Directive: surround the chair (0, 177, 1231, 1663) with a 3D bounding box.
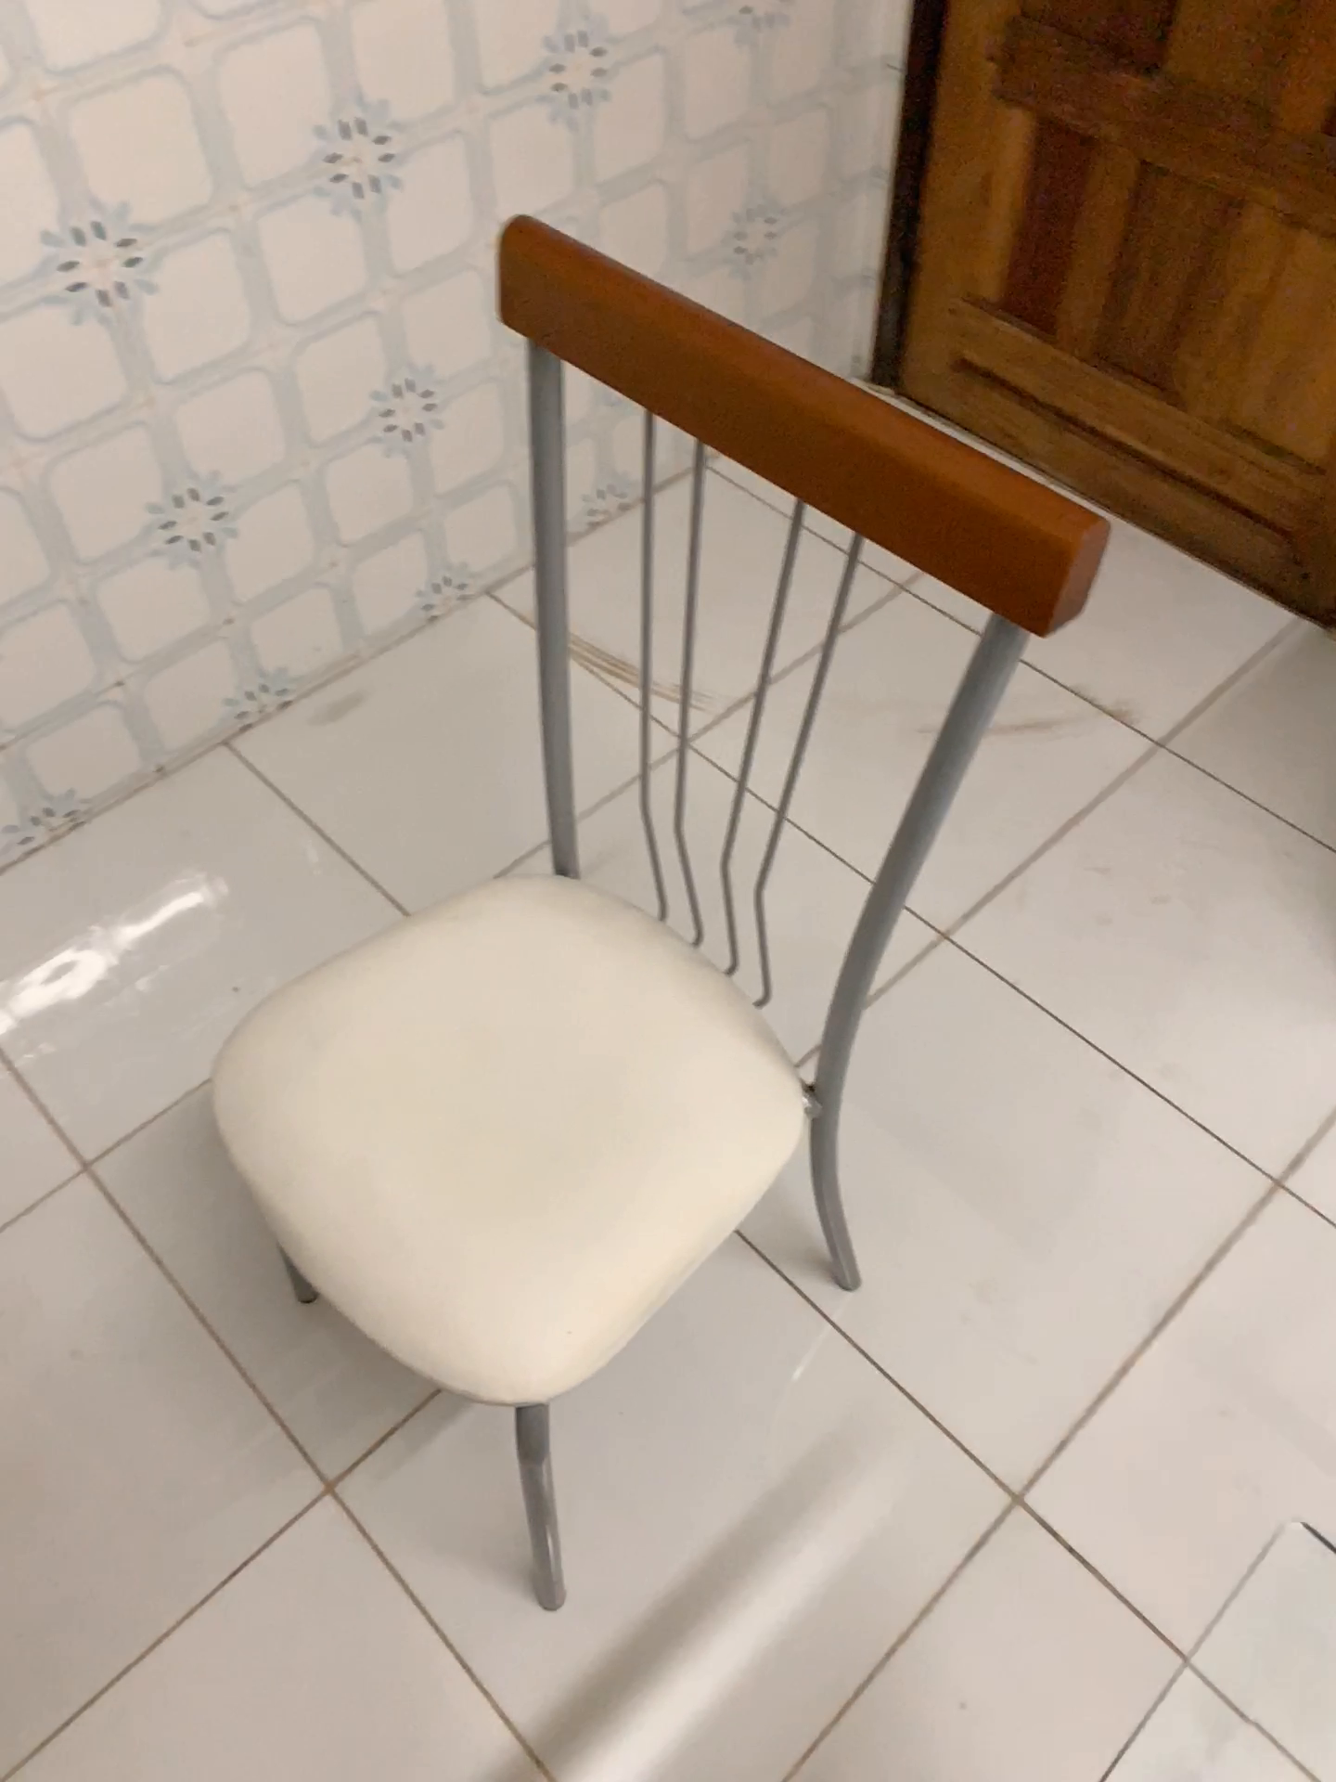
[{"bbox_3d":[-0.077,0.096,1.002,0.511,0.886,0.481,-37,60,-24],"label":"chair"}]
